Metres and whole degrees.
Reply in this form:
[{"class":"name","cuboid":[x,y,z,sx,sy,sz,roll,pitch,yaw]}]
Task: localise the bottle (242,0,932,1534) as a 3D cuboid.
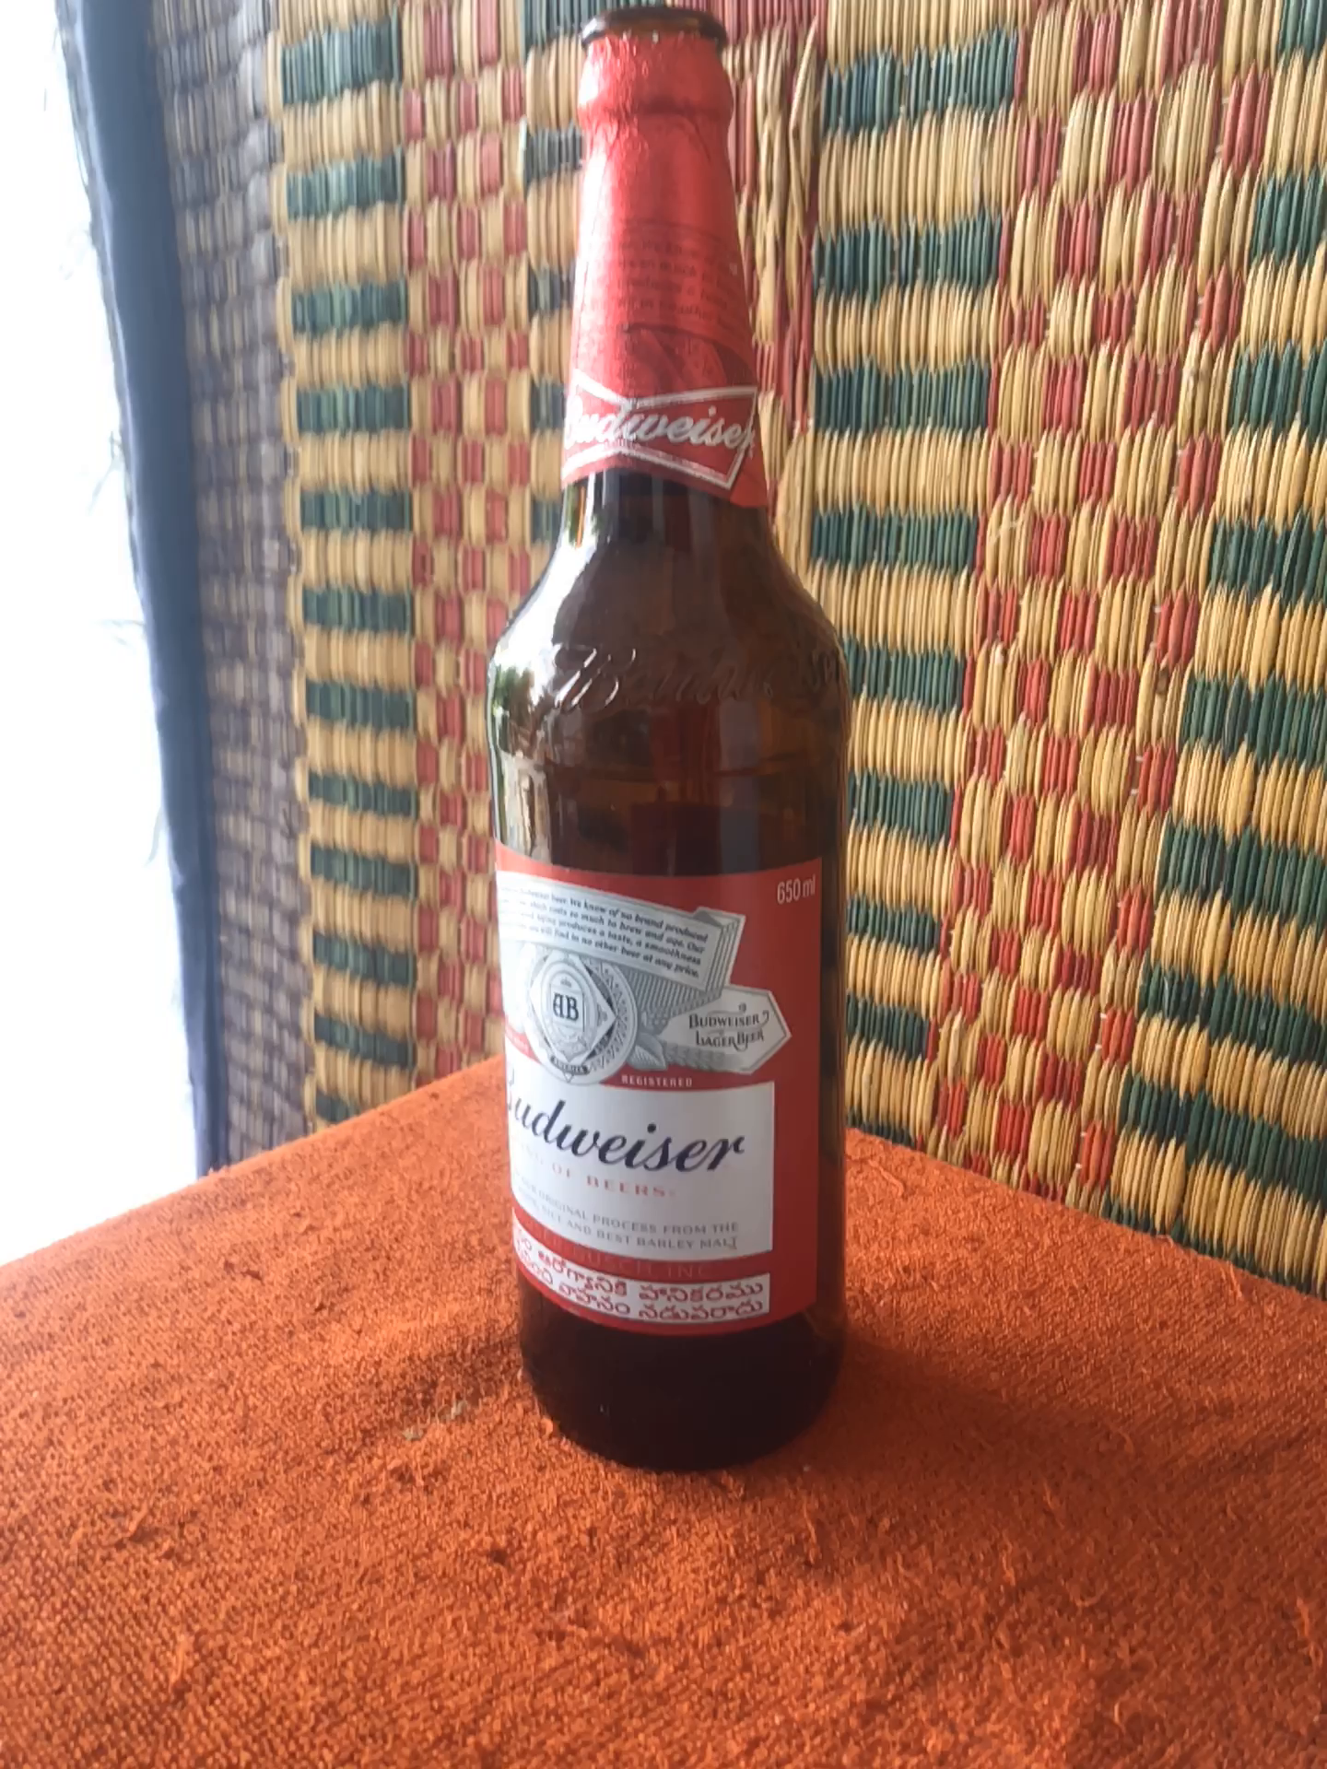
[{"class":"bottle","cuboid":[-0.010,-0.021,0.283,0.090,0.259,0.070,14,24,39]}]
